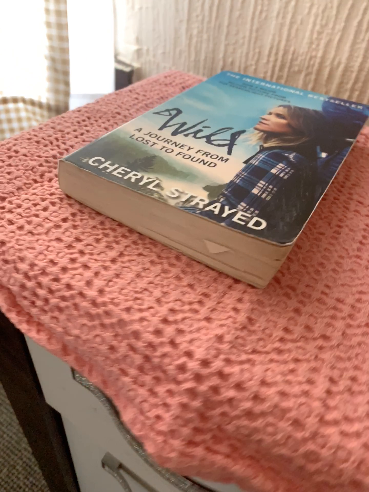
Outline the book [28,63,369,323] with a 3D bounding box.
[{"bbox_3d":[0.032,-0.063,0.253,0.140,0.030,0.212,24,45,18],"label":"book"}]
